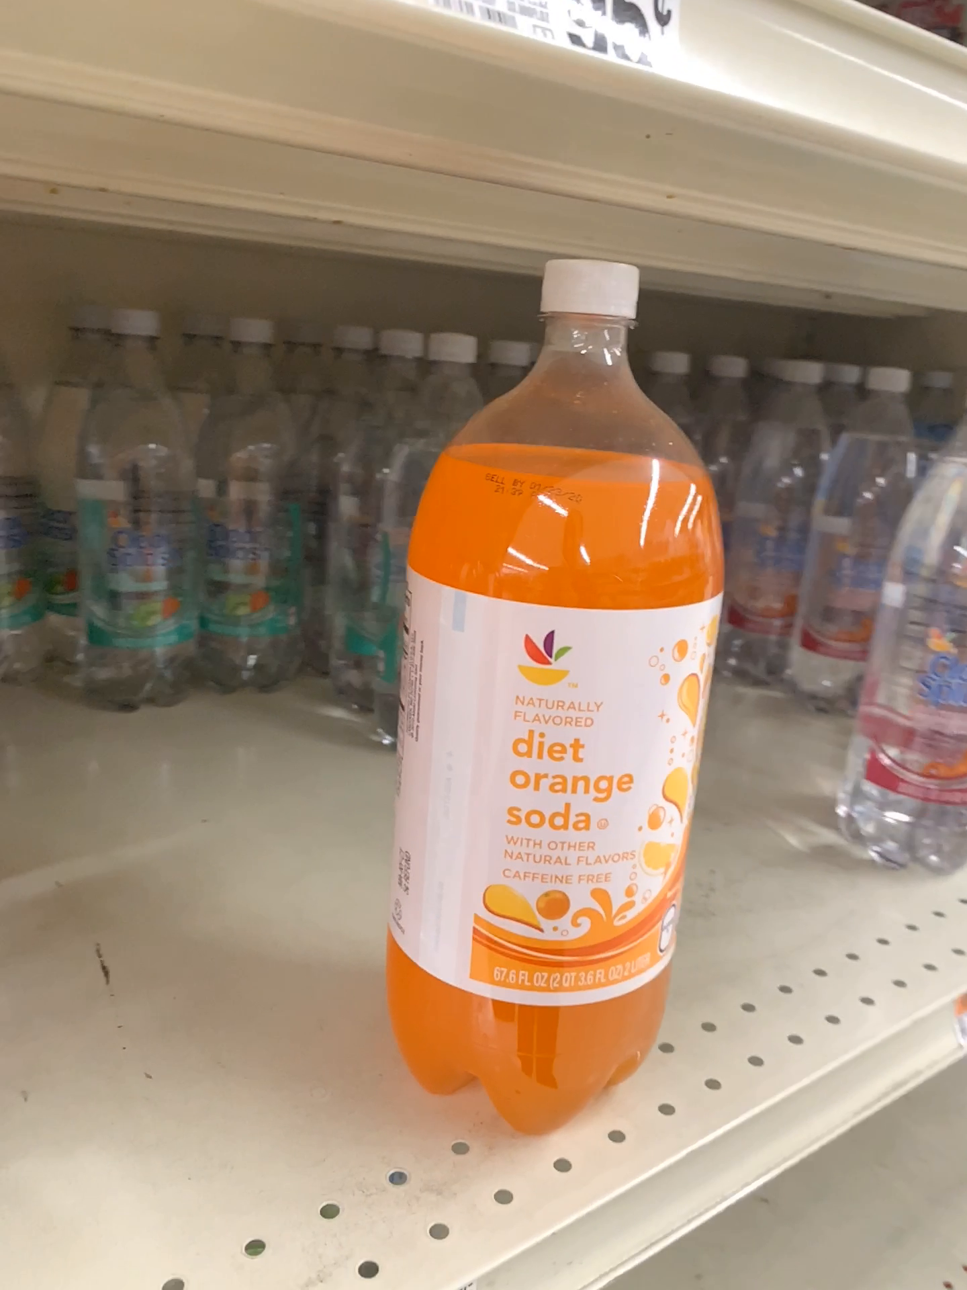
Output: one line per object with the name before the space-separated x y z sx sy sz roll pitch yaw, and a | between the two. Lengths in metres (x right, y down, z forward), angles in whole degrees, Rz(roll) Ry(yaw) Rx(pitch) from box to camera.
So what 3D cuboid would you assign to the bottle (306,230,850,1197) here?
bottle | 0.016 0.018 0.350 0.120 0.289 0.110 4 17 -1
